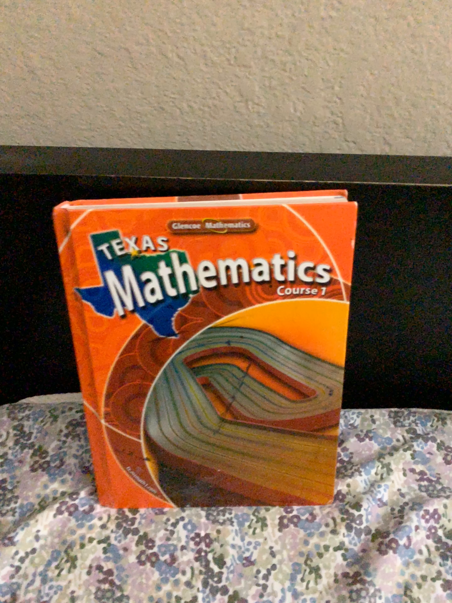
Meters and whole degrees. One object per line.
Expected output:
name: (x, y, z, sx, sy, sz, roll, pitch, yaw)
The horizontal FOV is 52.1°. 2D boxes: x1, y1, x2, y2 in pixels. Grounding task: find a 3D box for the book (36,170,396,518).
book: (-0.005, 0.050, 0.384, 0.230, 0.299, 0.050, -1, 26, -2)
